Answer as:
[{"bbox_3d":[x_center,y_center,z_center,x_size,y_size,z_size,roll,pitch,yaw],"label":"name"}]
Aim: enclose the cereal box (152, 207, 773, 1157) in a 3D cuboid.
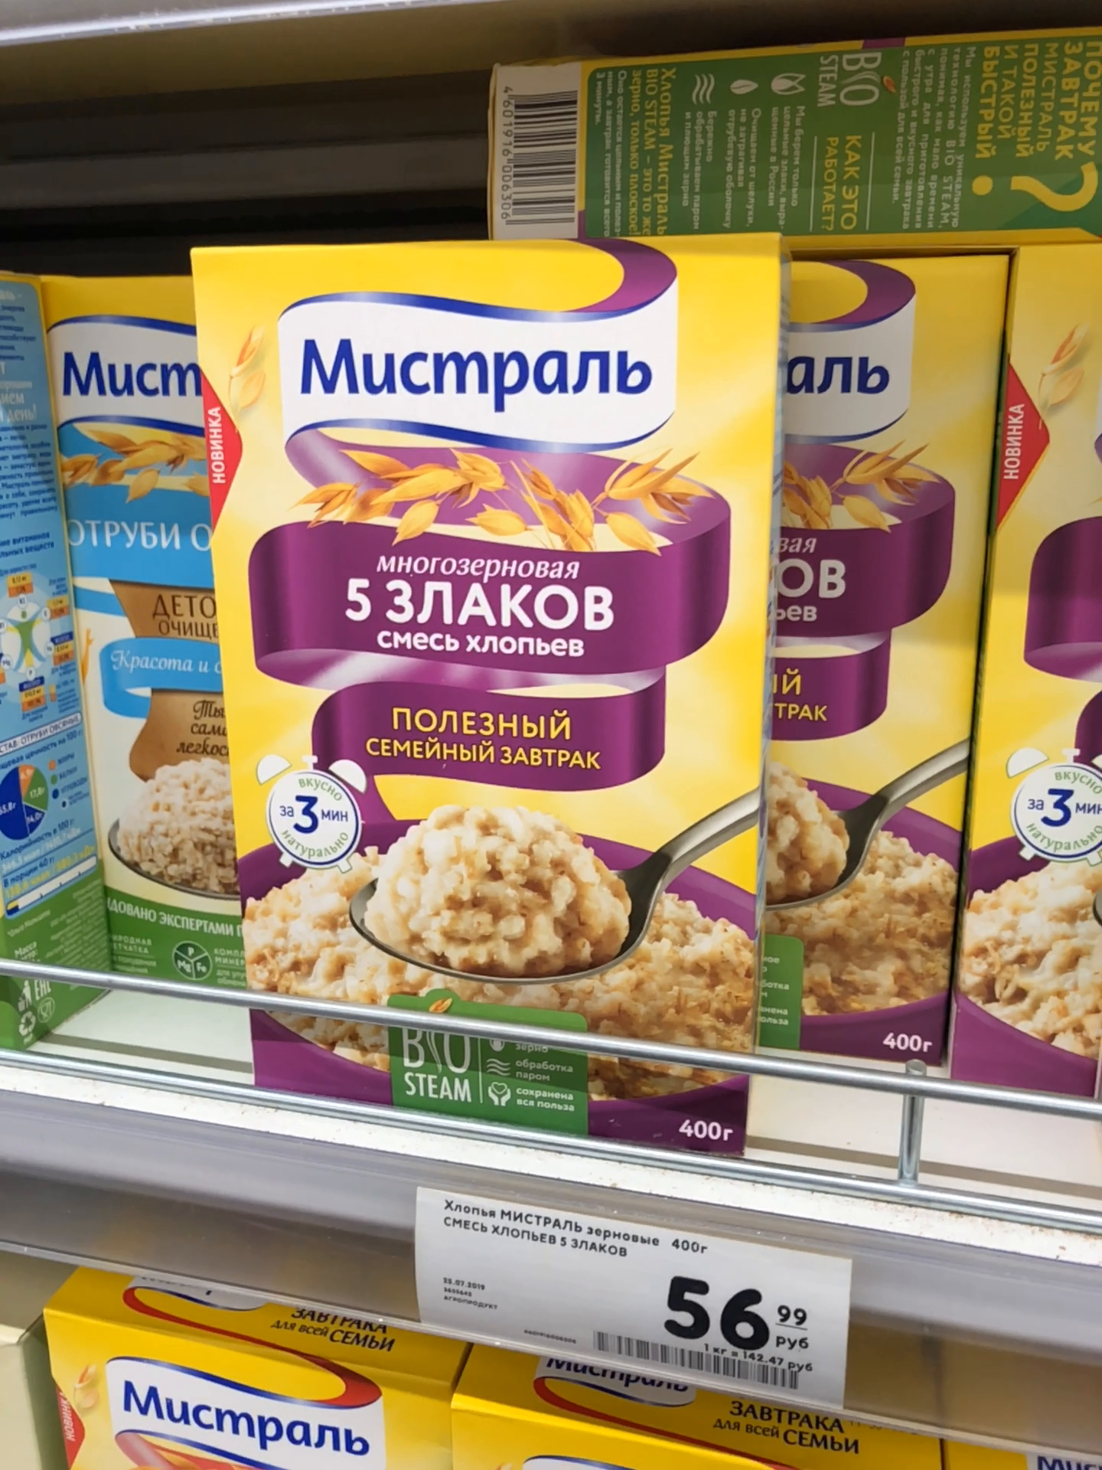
[{"bbox_3d":[-0.016,-0.011,0.303,0.130,0.209,0.050,3,16,14],"label":"cereal box"}]
